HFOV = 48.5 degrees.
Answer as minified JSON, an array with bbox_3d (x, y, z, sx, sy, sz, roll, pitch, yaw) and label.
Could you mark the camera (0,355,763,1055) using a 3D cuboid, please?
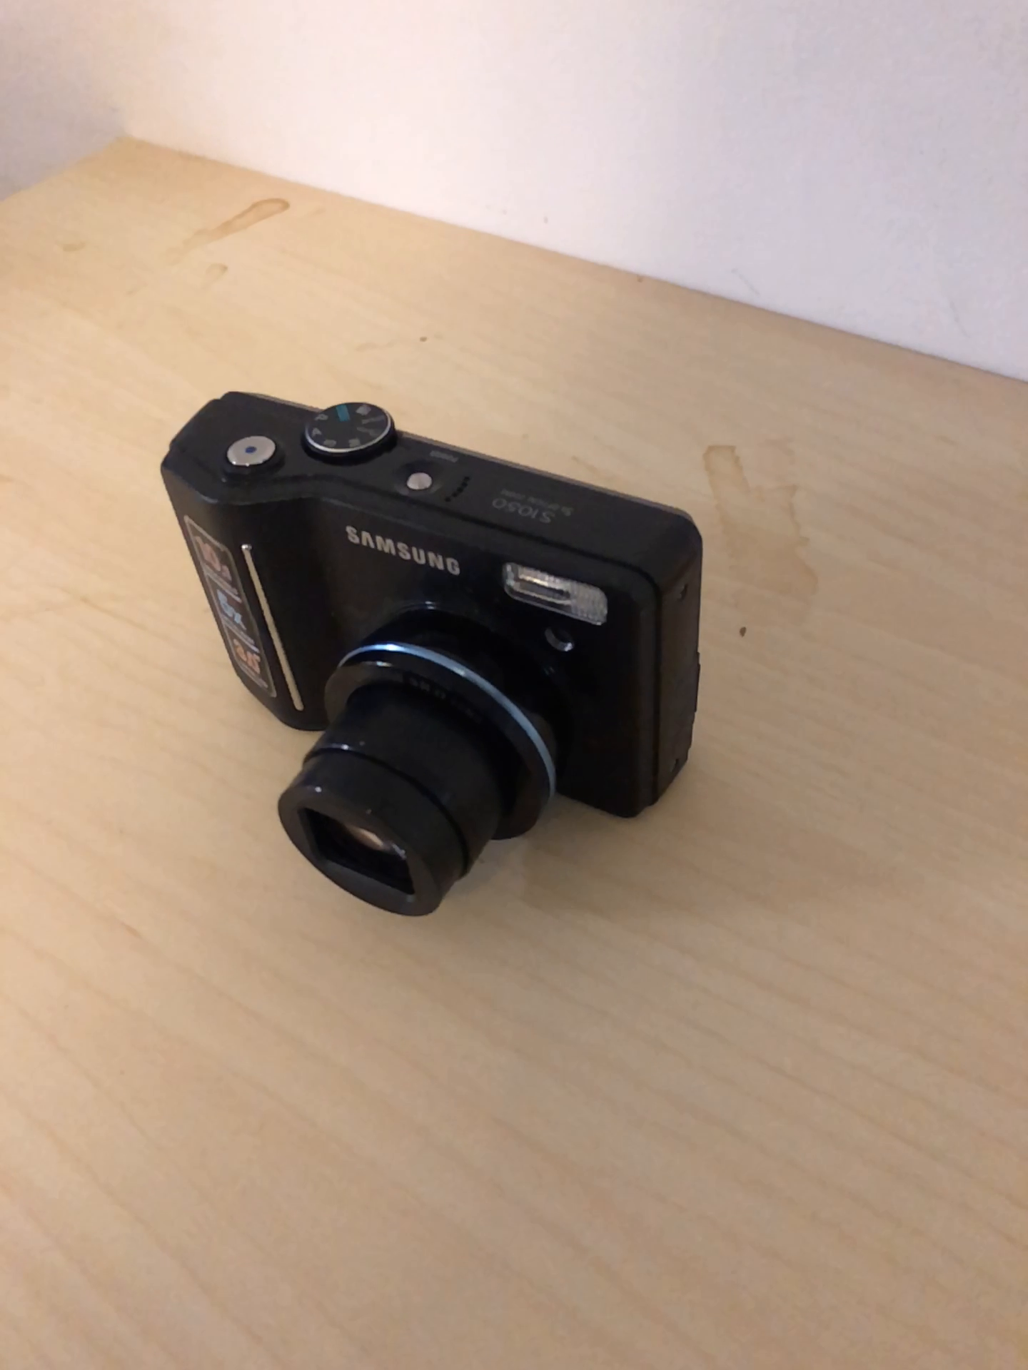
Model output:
[{"bbox_3d":[-0.022,-0.001,0.210,0.110,0.070,0.070,20,54,23],"label":"camera"}]
